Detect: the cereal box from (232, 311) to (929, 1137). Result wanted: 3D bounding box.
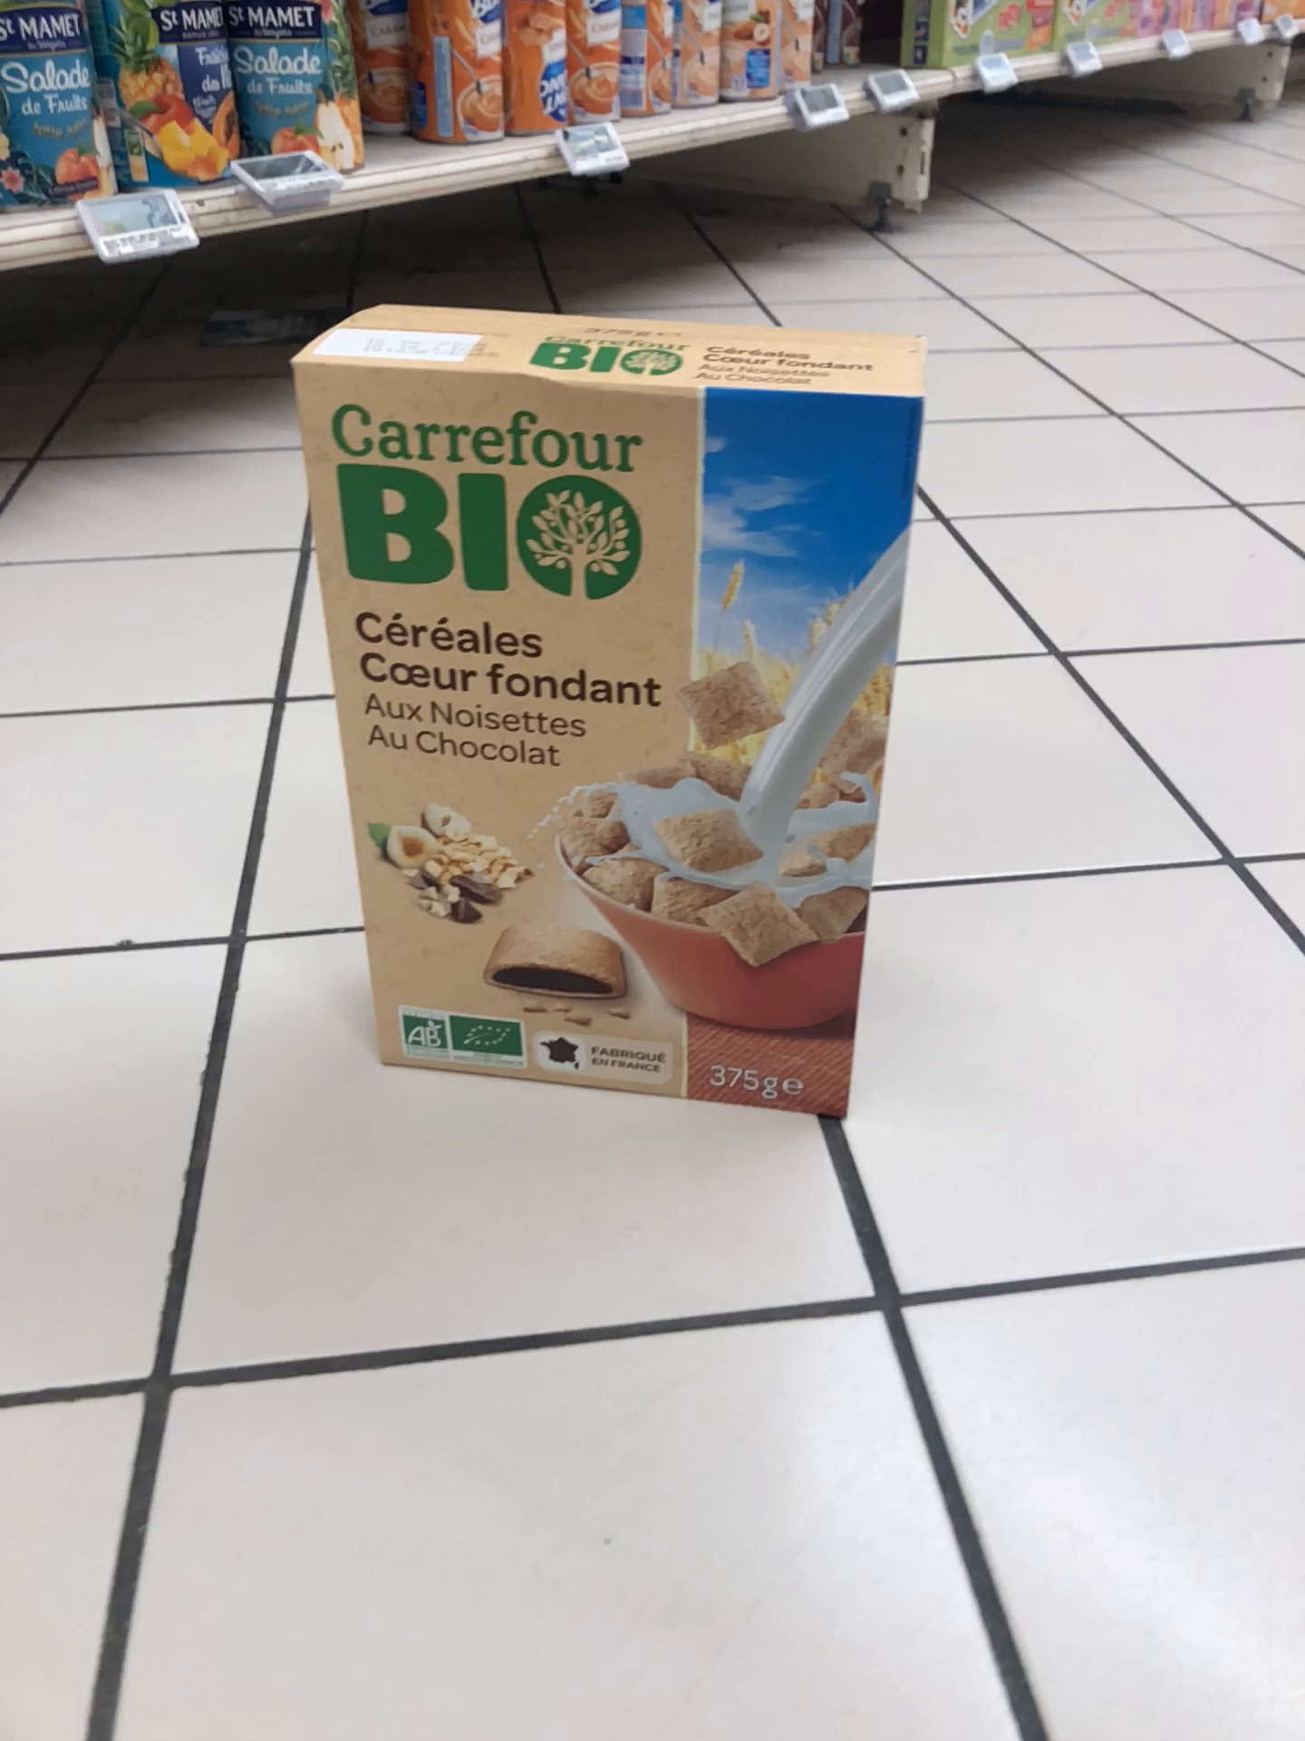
[{"bbox_3d":[-0.015,-0.038,0.435,0.170,0.229,0.070,5,33,8],"label":"cereal box"}]
